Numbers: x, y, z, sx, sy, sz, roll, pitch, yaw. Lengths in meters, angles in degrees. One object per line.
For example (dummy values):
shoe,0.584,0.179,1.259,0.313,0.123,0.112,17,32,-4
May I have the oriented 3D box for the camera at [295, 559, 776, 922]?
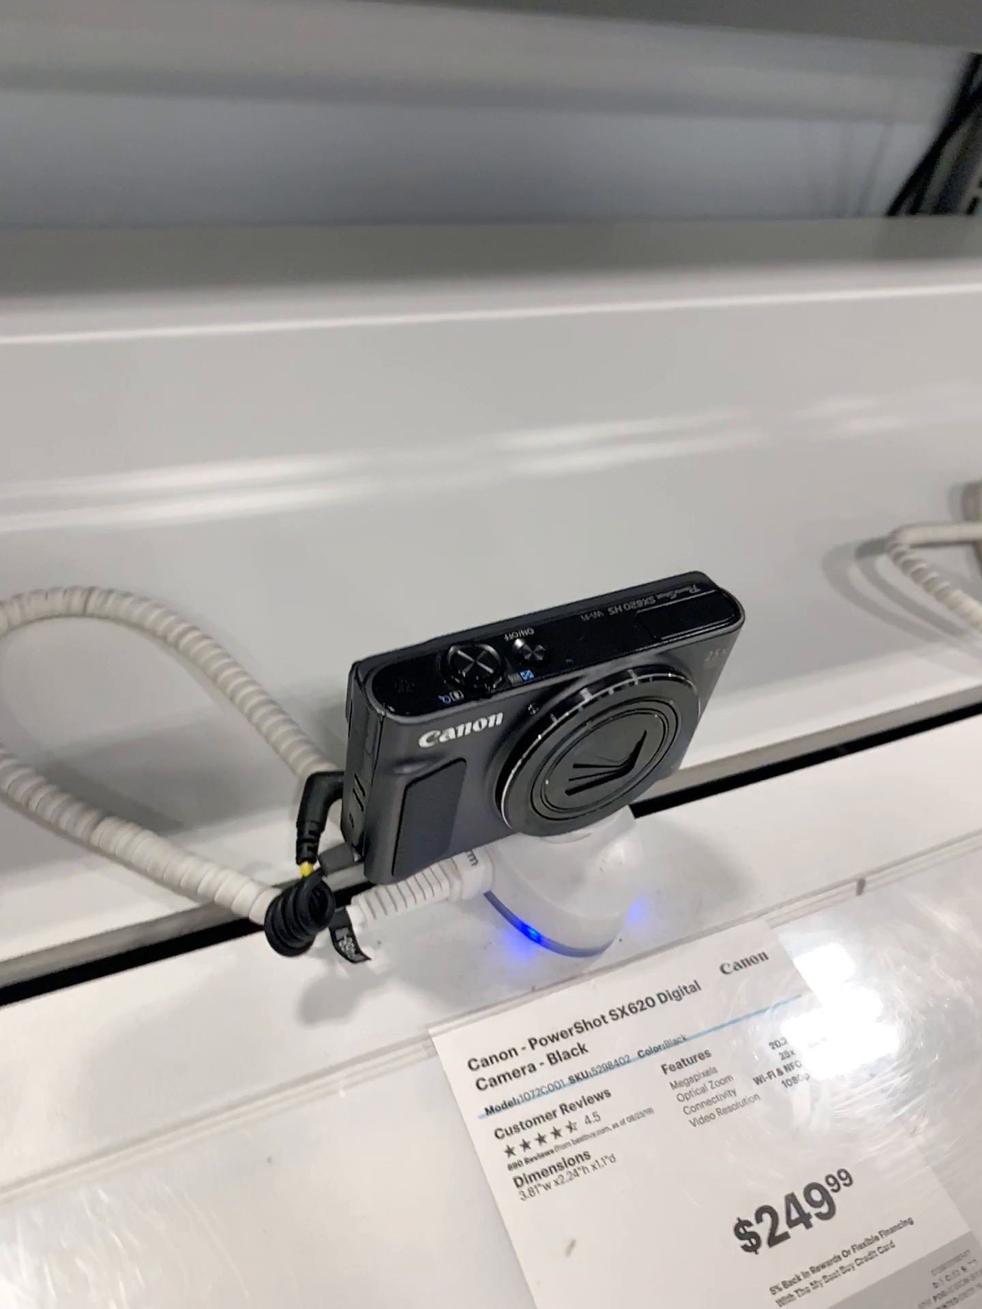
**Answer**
camera,0.010,0.017,0.233,0.100,0.050,0.031,-15,49,-28
